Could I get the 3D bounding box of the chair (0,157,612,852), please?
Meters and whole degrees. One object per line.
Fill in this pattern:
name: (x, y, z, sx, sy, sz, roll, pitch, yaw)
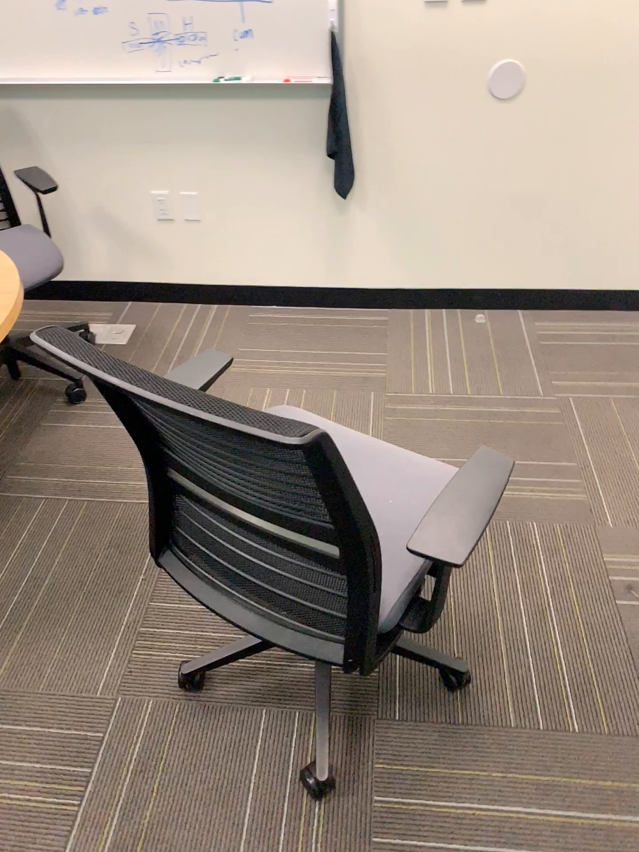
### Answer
chair: (-0.008, 0.160, 1.226, 0.652, 0.994, 0.692, 22, 46, 26)
